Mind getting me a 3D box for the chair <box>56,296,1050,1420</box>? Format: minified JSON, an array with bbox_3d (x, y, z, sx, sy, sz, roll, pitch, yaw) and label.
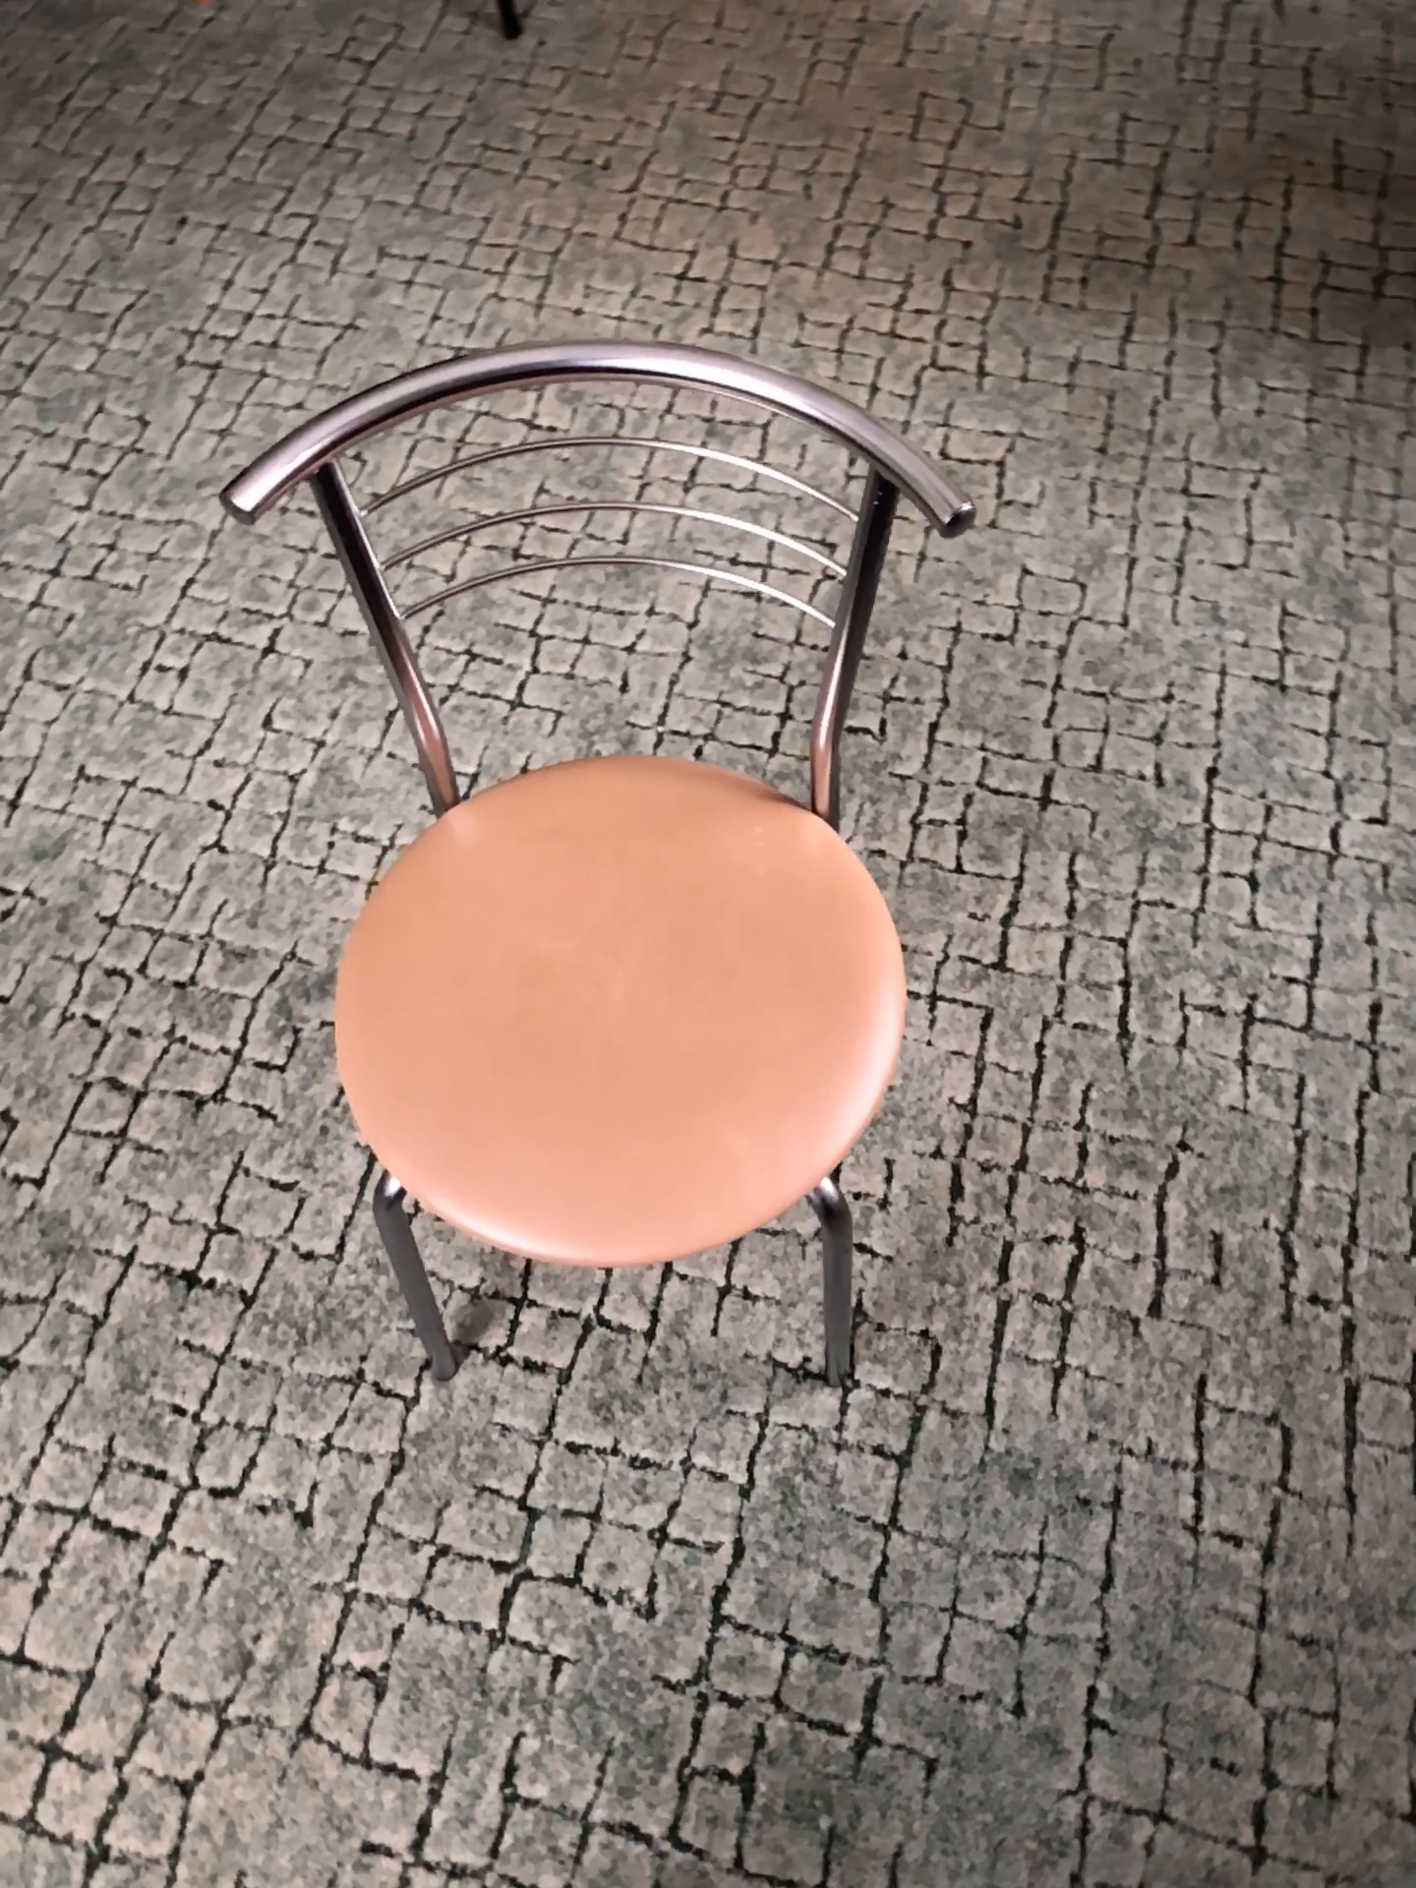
[{"bbox_3d":[-0.050,0.017,1.150,0.443,0.805,0.452,1,59,3],"label":"chair"}]
